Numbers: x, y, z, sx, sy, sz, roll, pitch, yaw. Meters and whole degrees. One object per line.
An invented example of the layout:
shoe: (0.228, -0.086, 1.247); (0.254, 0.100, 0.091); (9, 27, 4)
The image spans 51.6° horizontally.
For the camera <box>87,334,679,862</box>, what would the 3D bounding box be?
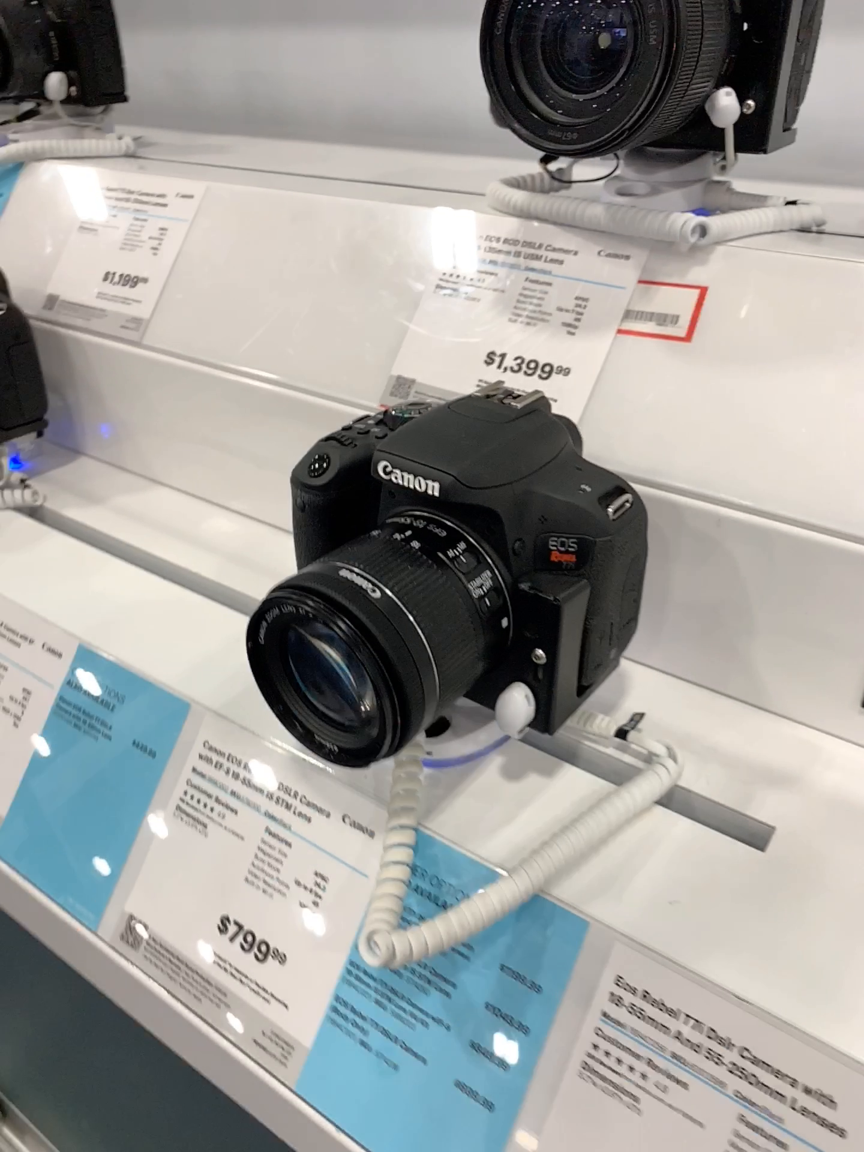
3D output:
camera: (-0.013, -0.009, 0.314); (0.140, 0.099, 0.130); (21, 36, 30)
